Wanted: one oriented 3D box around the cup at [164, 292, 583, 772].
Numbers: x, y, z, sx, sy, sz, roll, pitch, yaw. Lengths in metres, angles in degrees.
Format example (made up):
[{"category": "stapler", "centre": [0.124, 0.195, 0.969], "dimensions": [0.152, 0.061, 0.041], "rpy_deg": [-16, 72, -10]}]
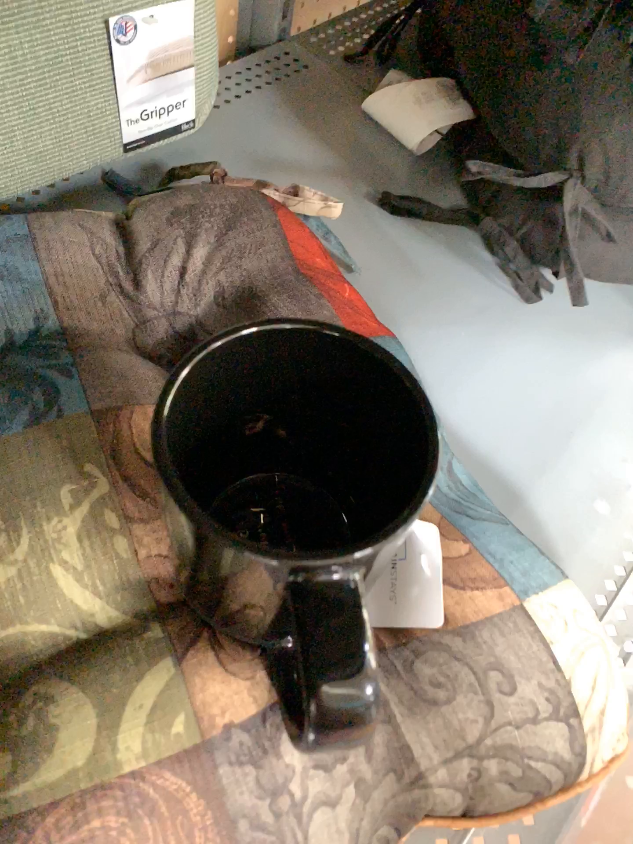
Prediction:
[{"category": "cup", "centre": [0.002, 0.035, 0.238], "dimensions": [0.100, 0.100, 0.130], "rpy_deg": [-5, 52, -14]}]
